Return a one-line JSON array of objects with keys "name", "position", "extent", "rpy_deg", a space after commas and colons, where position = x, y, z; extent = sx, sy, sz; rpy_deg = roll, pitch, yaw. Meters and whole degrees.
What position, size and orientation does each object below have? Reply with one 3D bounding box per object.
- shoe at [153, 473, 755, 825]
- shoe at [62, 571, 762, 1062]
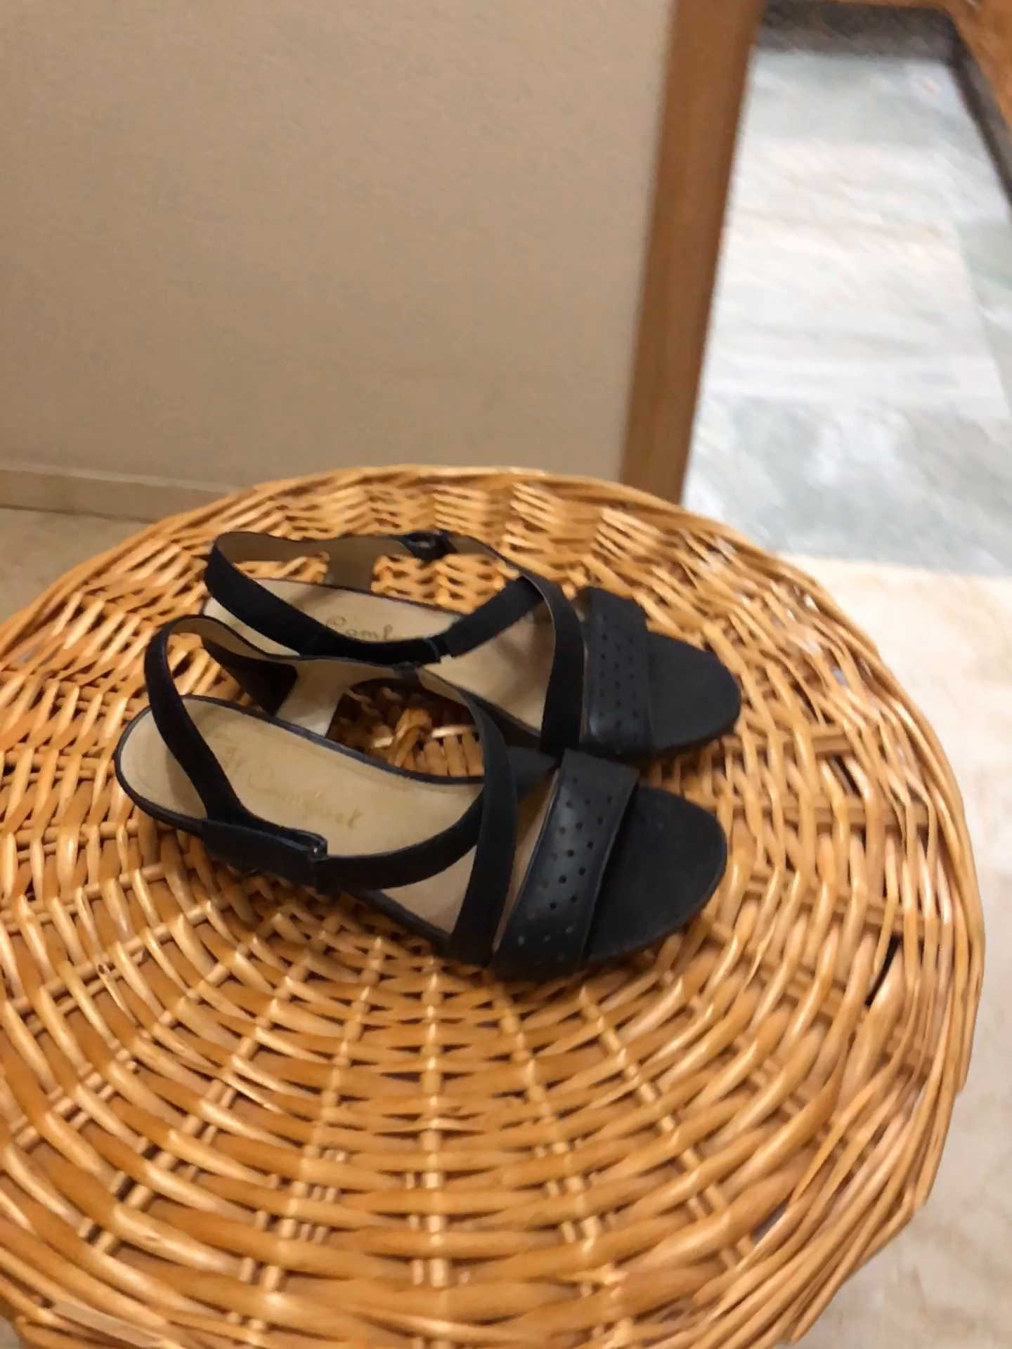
[{"name": "shoe", "position": [-0.023, -0.011, 0.520], "extent": [0.248, 0.088, 0.090], "rpy_deg": [9, 44, -4]}, {"name": "shoe", "position": [-0.034, 0.061, 0.458], "extent": [0.247, 0.092, 0.100], "rpy_deg": [18, 55, -3]}]
